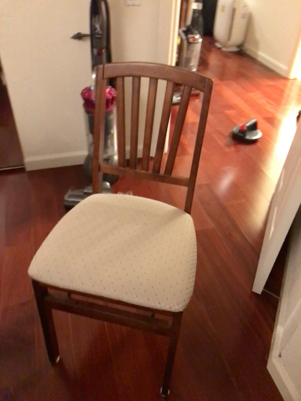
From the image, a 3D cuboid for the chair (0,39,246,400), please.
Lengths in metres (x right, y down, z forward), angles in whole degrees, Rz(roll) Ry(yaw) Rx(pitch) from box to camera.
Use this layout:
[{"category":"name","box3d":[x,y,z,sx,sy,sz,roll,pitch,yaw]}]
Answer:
[{"category":"chair","box3d":[-0.066,0.089,1.016,0.500,0.923,0.564,11,39,9]}]
